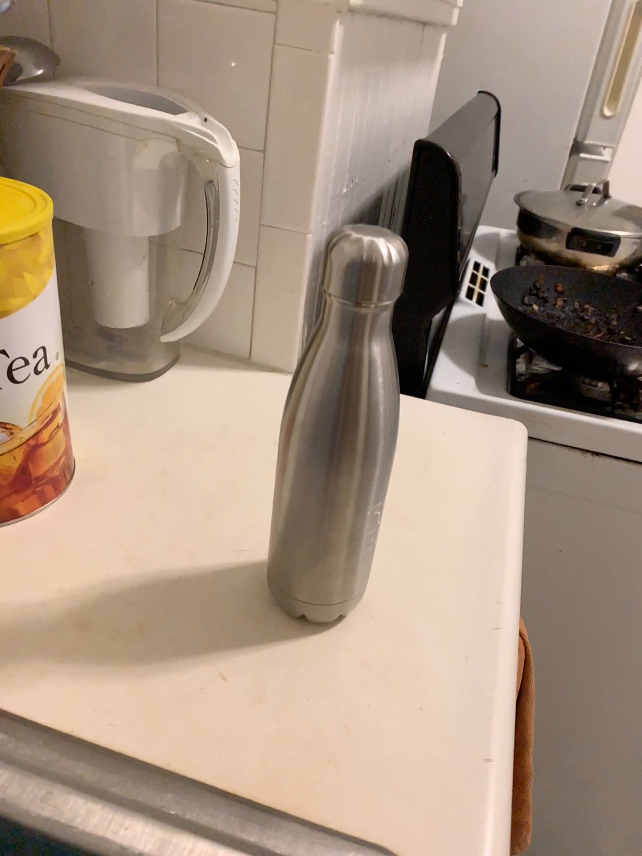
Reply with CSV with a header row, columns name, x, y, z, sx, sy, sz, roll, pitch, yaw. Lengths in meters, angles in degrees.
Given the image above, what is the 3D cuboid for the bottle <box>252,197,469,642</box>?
name,x,y,z,sx,sy,sz,roll,pitch,yaw
bottle,0.015,0.005,0.389,0.070,0.249,0.070,6,33,-4
